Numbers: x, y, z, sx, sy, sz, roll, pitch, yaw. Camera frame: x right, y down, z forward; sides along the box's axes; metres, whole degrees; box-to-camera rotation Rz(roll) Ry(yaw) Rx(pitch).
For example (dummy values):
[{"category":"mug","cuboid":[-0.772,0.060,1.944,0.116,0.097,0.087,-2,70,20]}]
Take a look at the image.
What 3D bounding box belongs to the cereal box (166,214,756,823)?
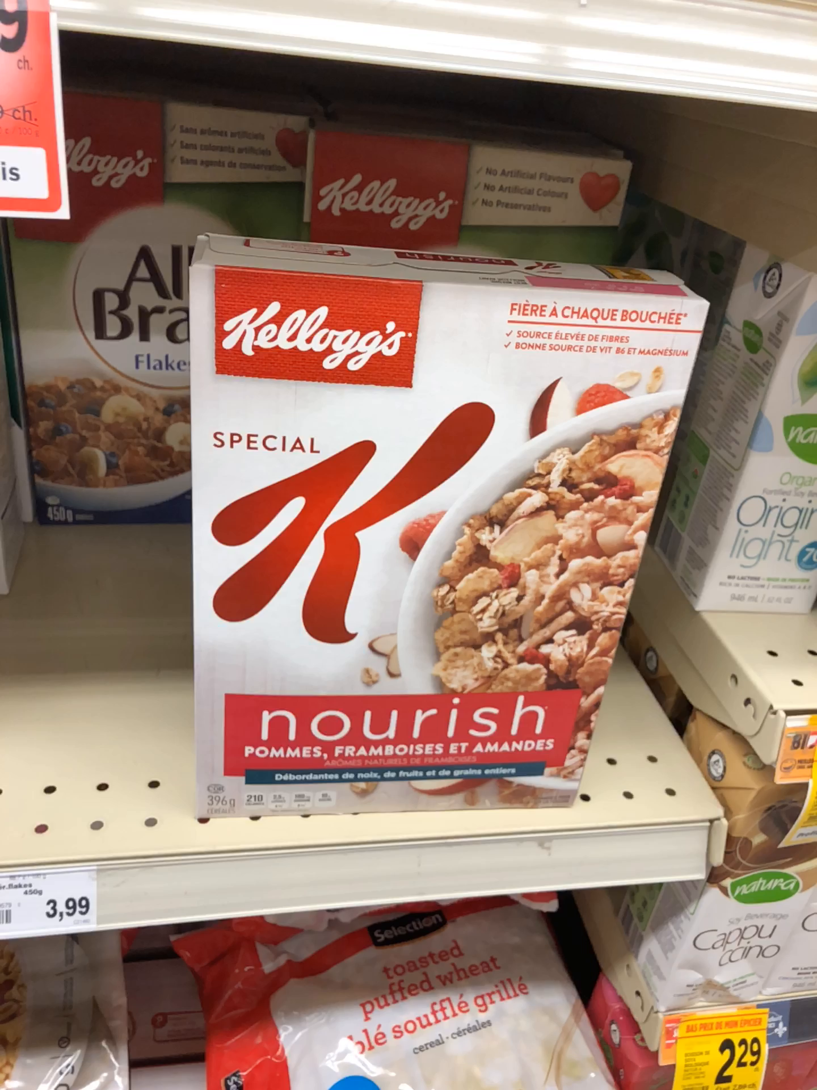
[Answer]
[{"category":"cereal box","cuboid":[0.005,0.004,0.385,0.200,0.248,0.060,2,30,-10]}]
